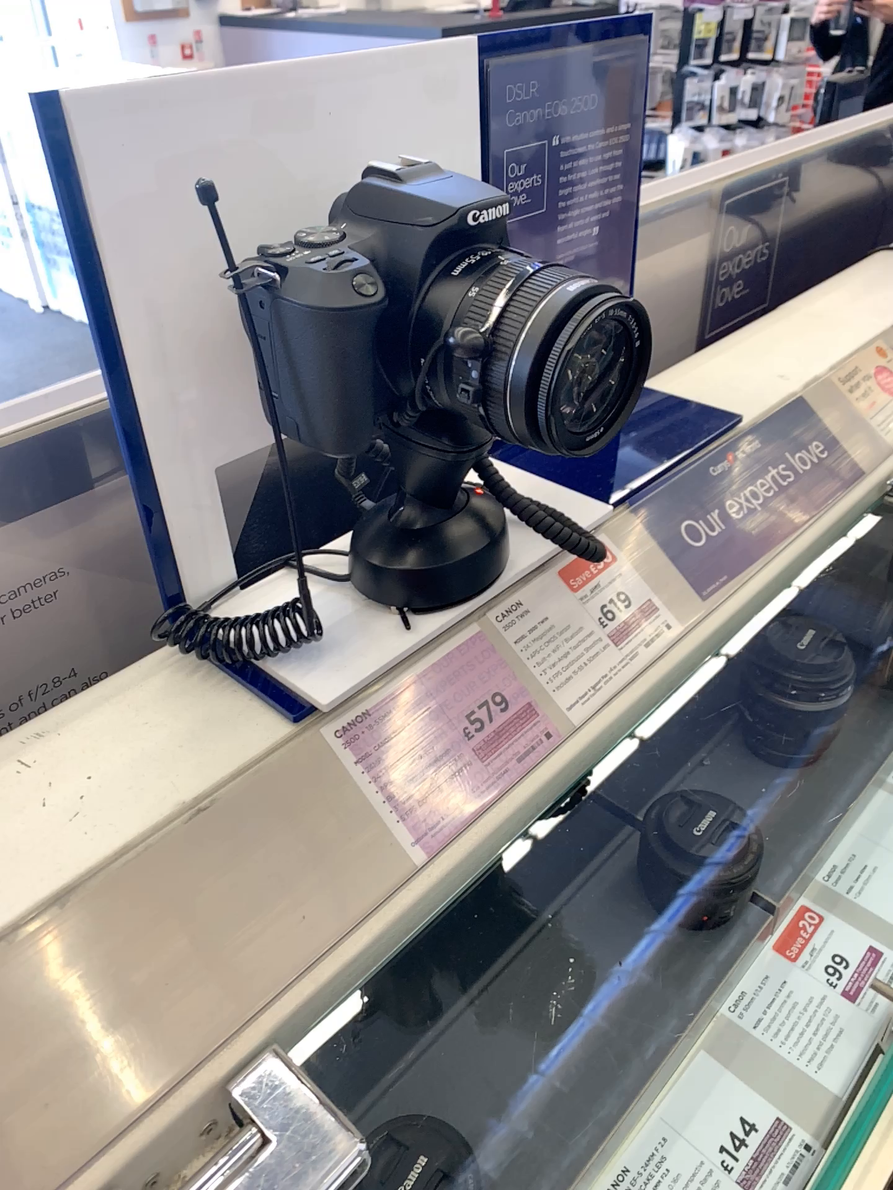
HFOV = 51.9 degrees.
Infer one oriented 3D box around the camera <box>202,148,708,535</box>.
[{"bbox_3d":[0.004,-0.110,0.360,0.141,0.089,0.121,26,44,33],"label":"camera"}]
